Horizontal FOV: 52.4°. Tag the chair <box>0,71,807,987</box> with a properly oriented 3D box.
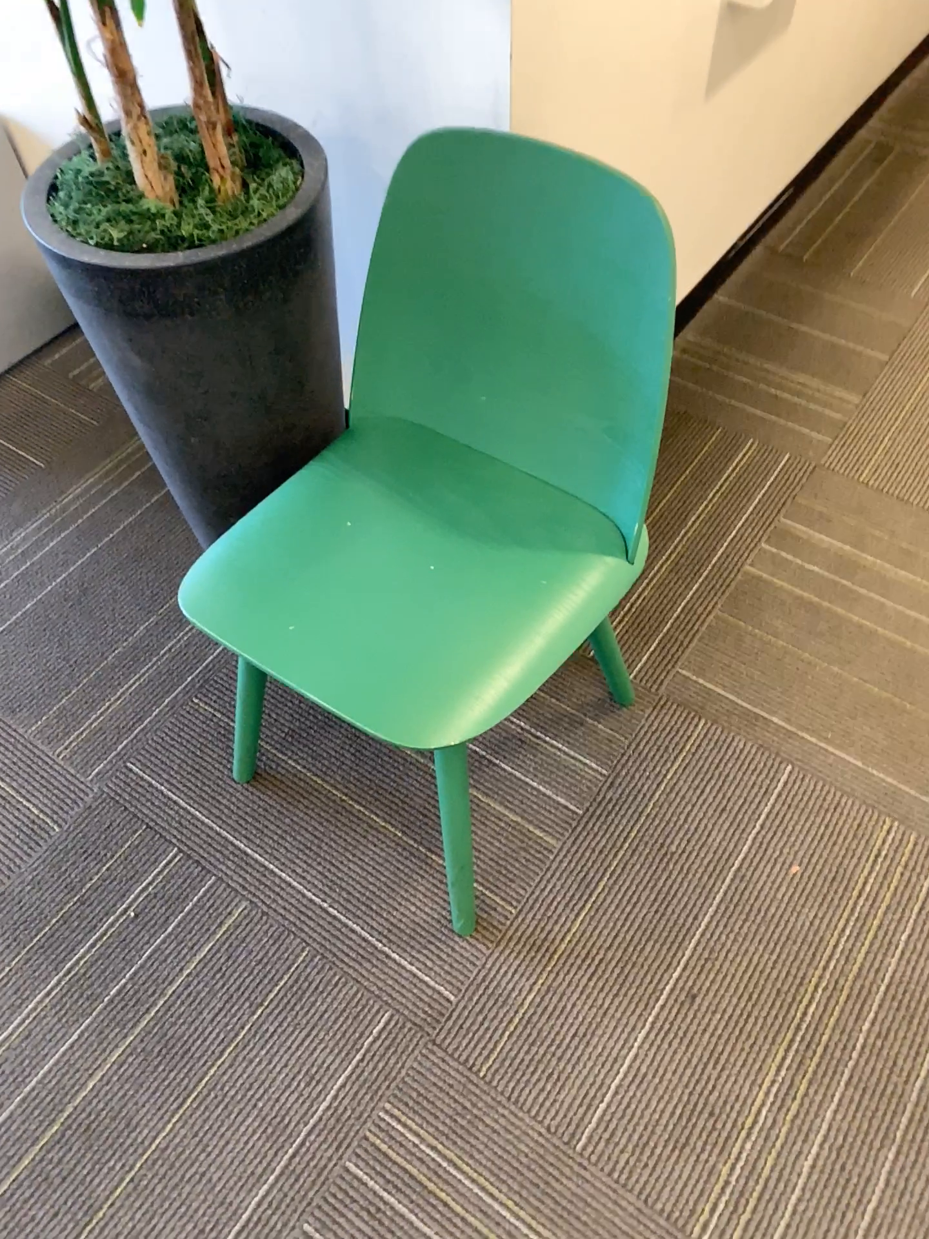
[{"bbox_3d":[-0.050,-0.077,1.118,0.501,0.746,0.601,29,59,21],"label":"chair"}]
